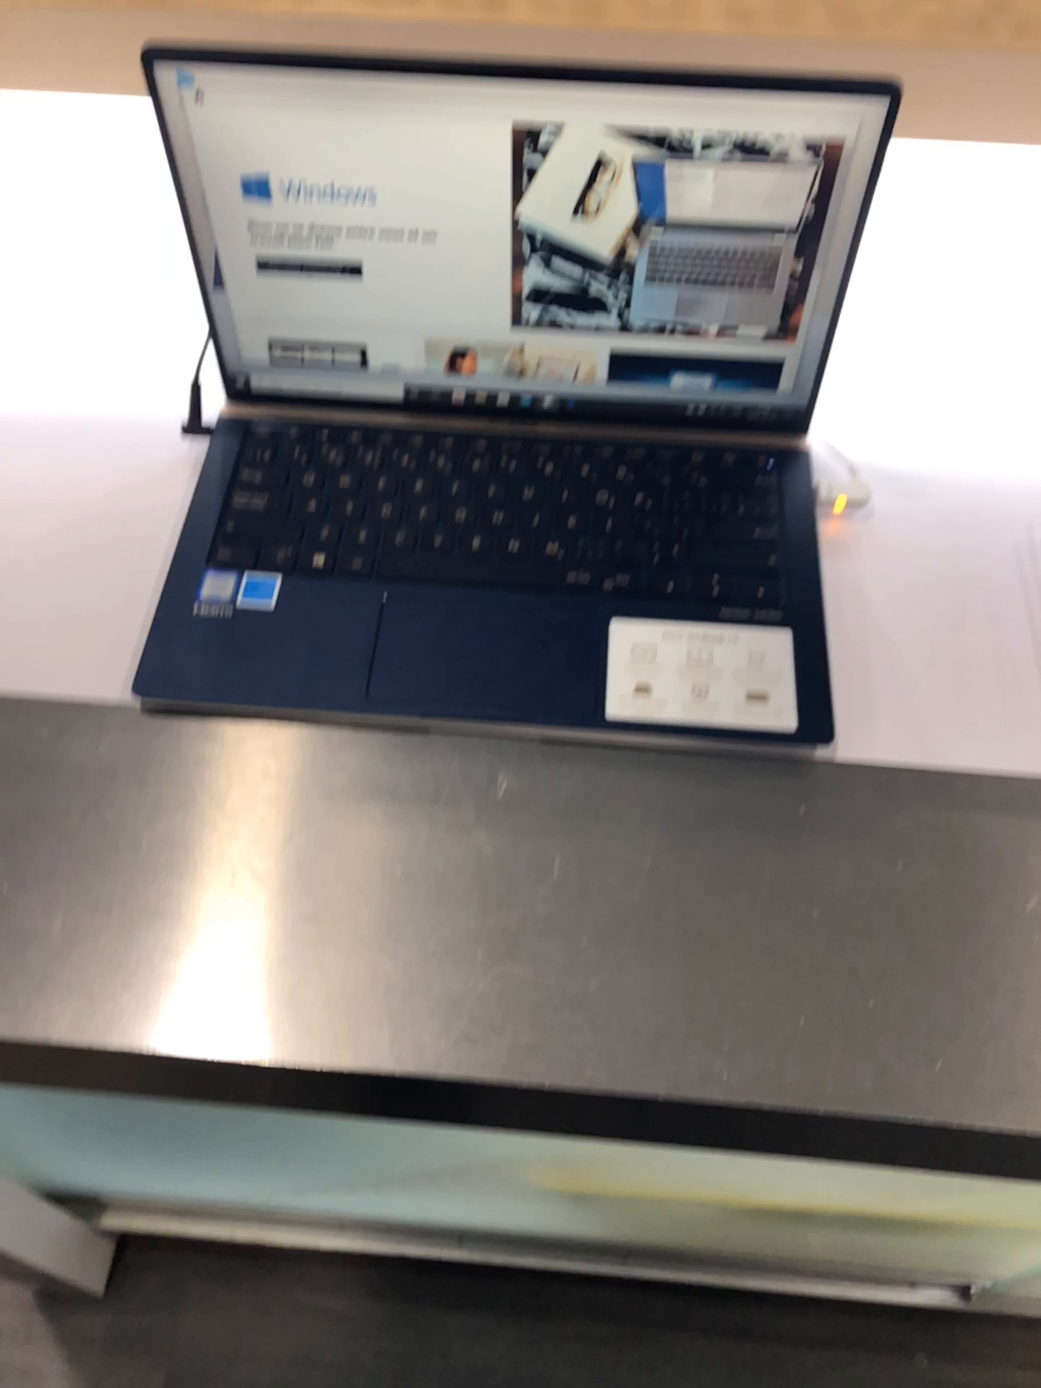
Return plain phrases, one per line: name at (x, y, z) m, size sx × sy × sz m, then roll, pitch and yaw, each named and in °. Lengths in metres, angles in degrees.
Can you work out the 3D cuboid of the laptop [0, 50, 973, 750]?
laptop at (-0.010, -0.116, 0.474) m, size 0.301 × 0.182 × 0.192 m, roll 4°, pitch 55°, yaw 1°
